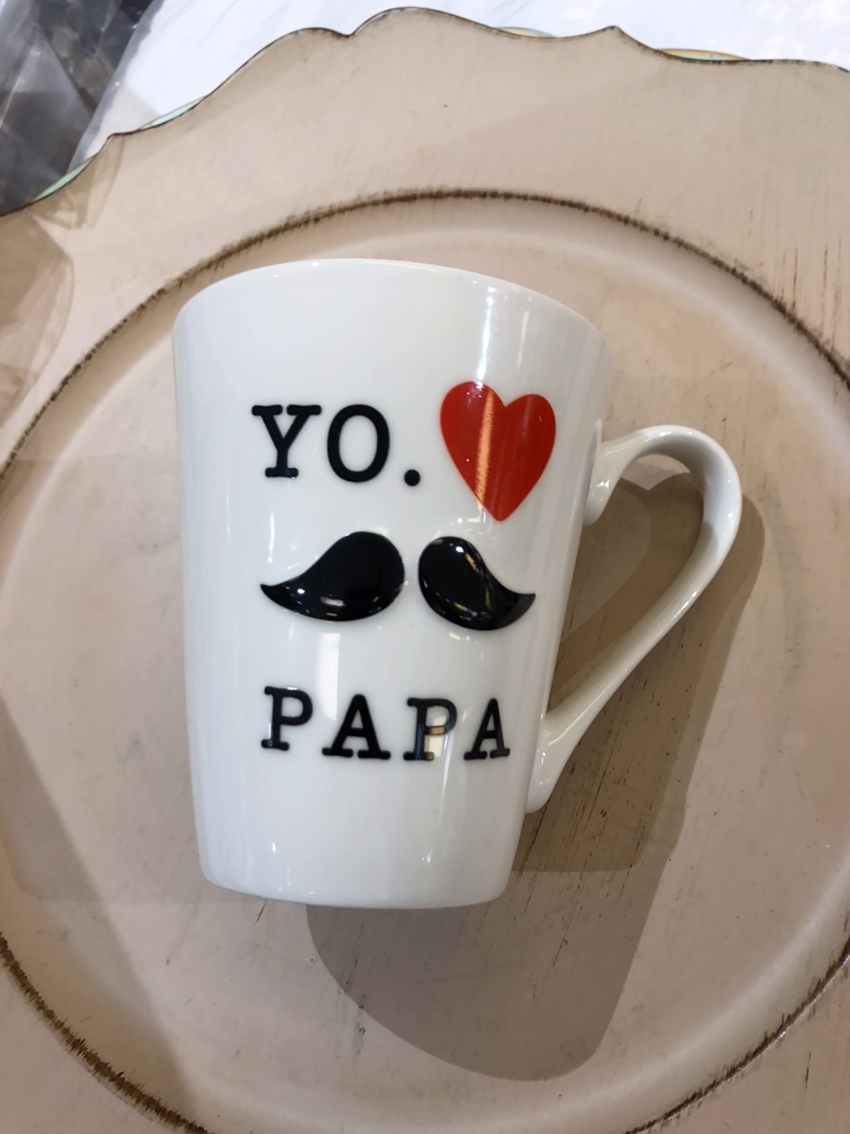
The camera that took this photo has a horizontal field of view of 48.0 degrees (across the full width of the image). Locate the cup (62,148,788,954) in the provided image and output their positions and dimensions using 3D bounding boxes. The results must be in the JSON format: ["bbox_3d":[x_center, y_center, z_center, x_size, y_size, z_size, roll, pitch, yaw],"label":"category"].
[{"bbox_3d":[-0.002,0.003,0.197,0.110,0.090,0.120,1,83,-11],"label":"cup"}]
